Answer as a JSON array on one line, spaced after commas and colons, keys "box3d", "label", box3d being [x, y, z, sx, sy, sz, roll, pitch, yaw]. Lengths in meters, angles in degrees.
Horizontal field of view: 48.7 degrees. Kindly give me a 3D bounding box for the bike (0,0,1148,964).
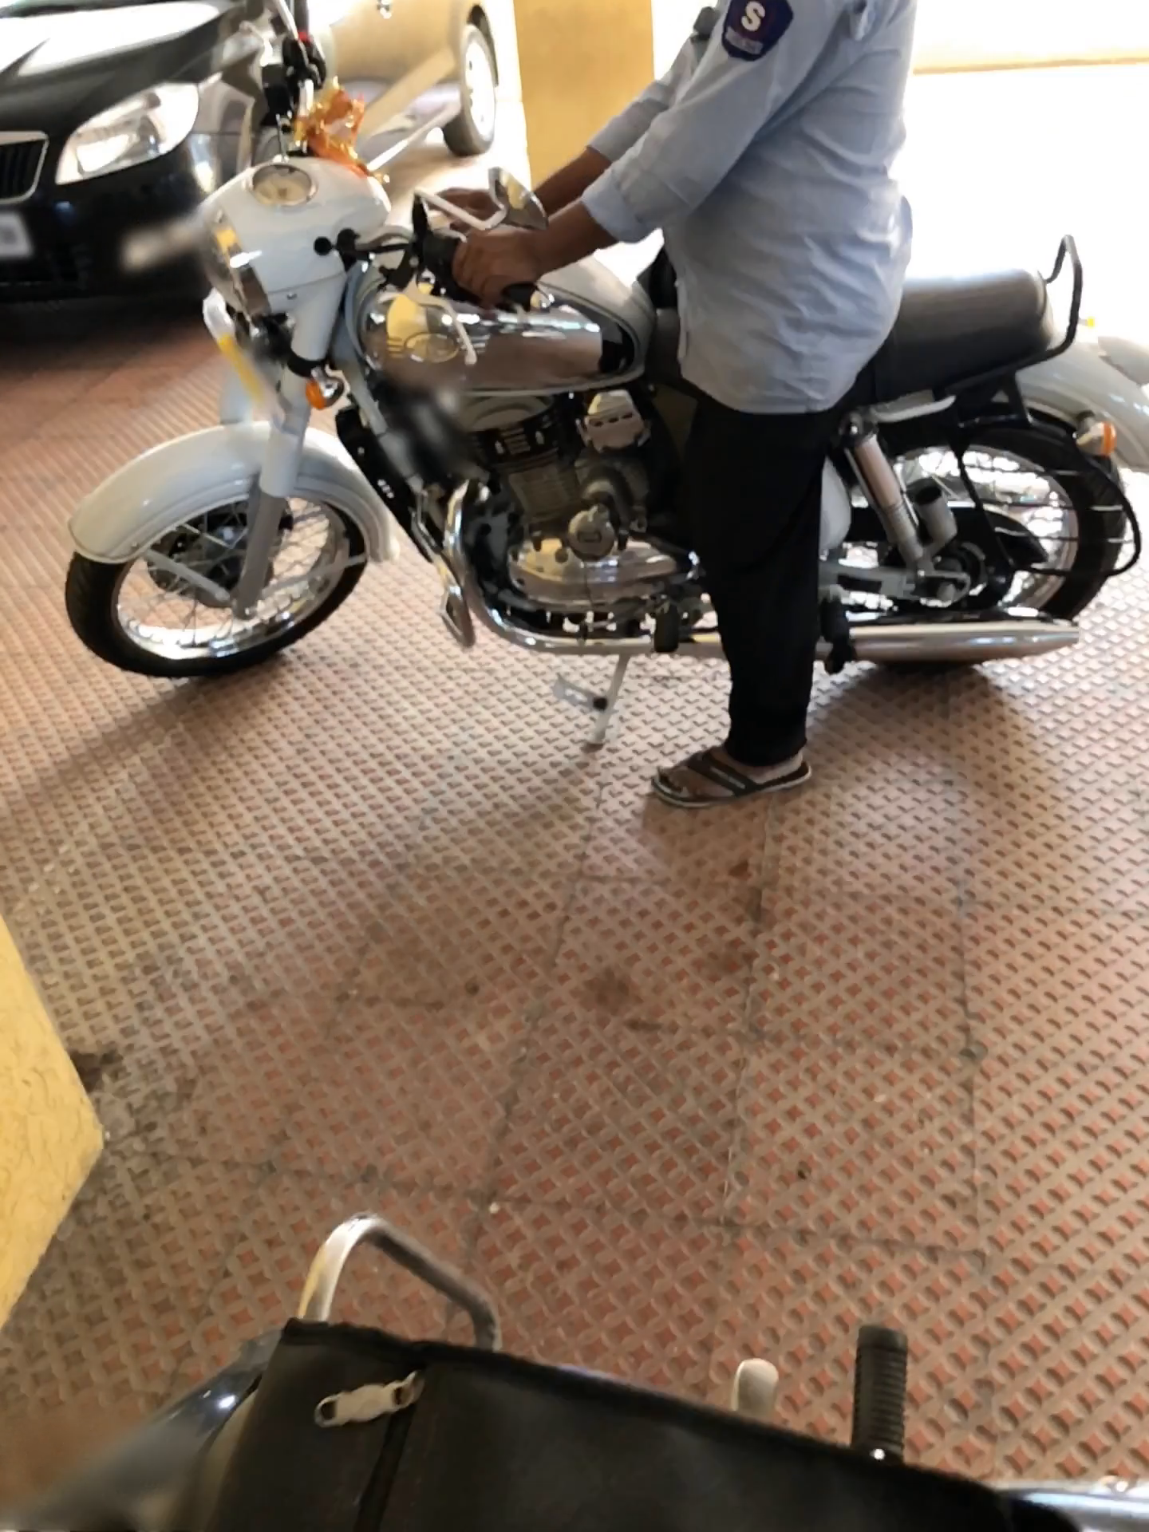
[{"box3d": [-0.032, -0.477, 1.966, 1.897, 1.233, 0.849, -2, 37, 4], "label": "bike"}]
